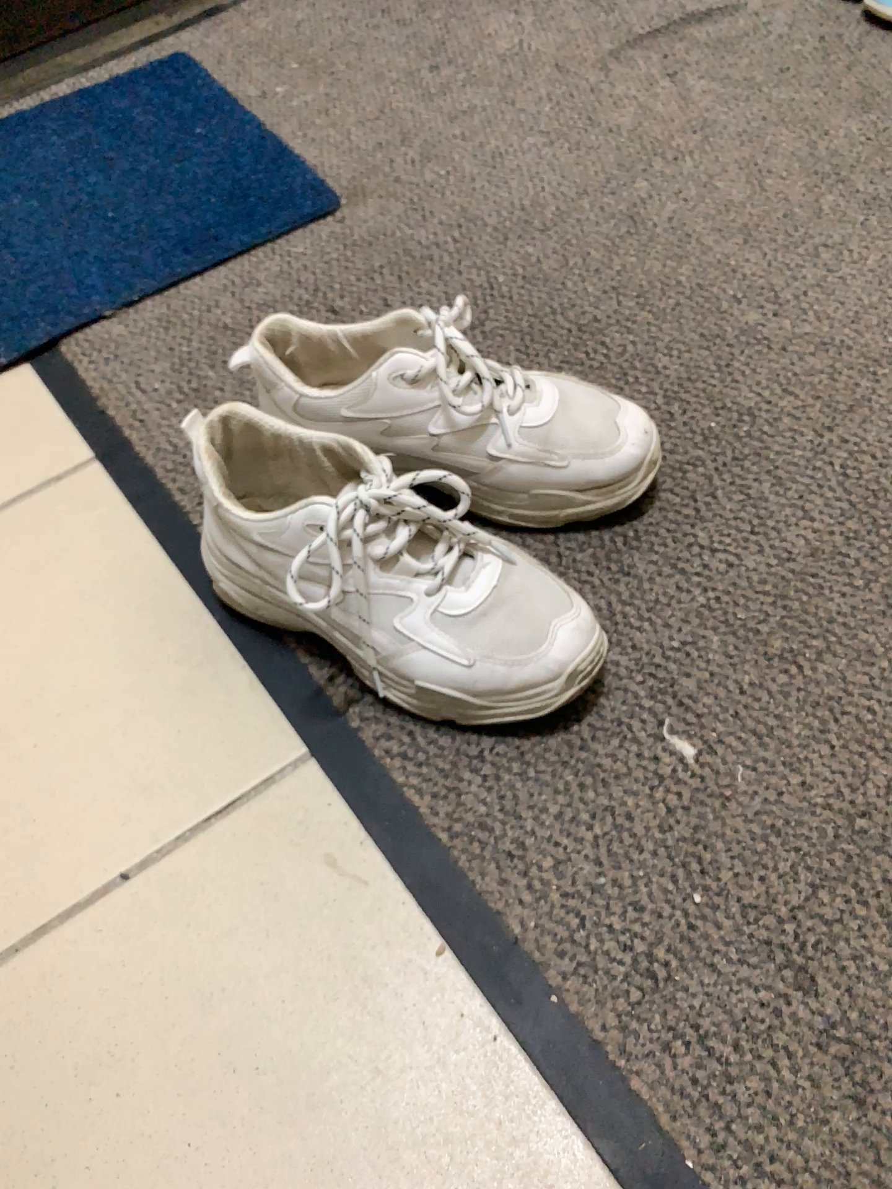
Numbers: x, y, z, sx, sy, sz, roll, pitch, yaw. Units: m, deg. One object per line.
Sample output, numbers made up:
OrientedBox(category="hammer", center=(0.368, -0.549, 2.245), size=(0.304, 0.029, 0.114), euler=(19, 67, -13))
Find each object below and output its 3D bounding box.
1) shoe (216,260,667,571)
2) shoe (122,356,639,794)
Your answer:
OrientedBox(category="shoe", center=(0.007, -0.107, 0.556), size=(0.230, 0.140, 0.100), euler=(6, 56, 13))
OrientedBox(category="shoe", center=(-0.028, -0.013, 0.492), size=(0.230, 0.140, 0.100), euler=(22, 61, 22))
